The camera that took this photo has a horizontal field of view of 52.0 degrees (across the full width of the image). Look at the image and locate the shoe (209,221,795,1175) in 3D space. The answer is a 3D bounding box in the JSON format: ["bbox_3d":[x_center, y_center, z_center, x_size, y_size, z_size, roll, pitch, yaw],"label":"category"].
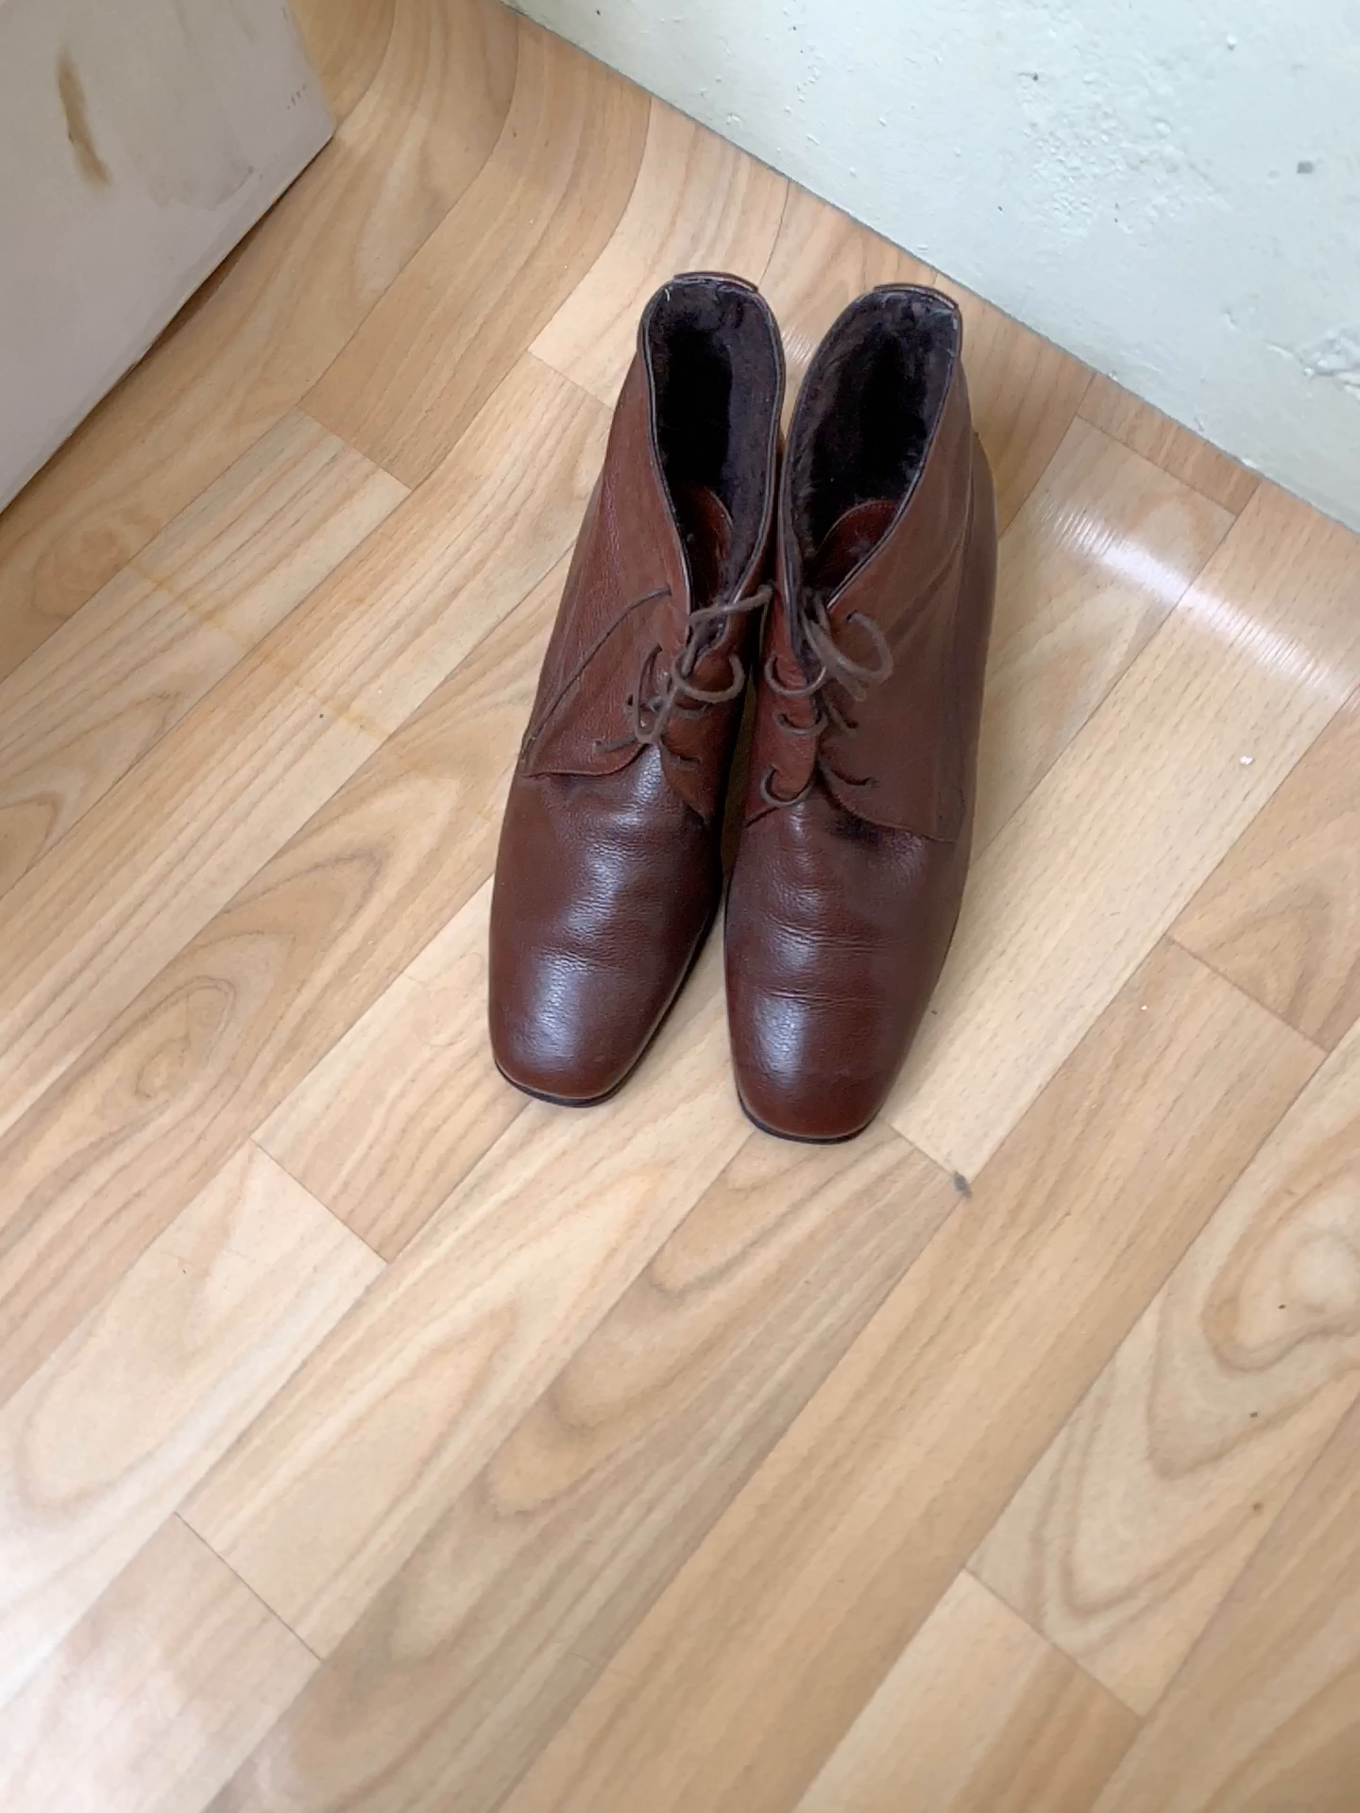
[{"bbox_3d":[-0.033,-0.048,0.405,0.080,0.150,0.220,14,75,8],"label":"shoe"}]

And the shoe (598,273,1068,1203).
[{"bbox_3d":[0.046,-0.037,0.407,0.080,0.150,0.220,9,75,6],"label":"shoe"}]
